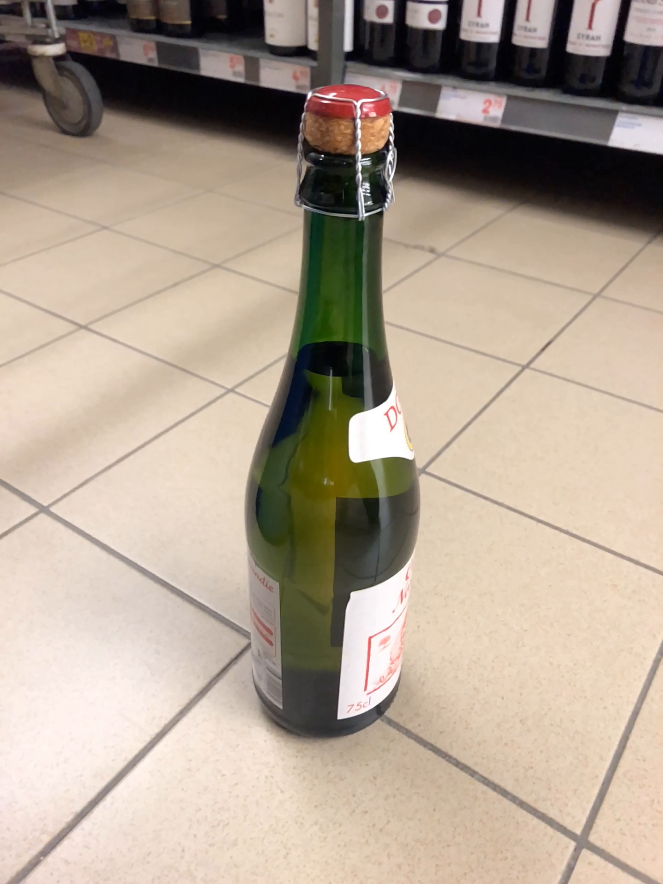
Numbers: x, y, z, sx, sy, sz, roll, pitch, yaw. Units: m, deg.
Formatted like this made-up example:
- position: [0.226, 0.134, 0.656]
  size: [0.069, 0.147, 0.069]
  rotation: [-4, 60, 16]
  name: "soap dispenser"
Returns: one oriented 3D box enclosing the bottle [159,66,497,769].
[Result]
- position: [0.002, 0.008, 0.317]
  size: [0.090, 0.288, 0.101]
  rotation: [5, 35, 5]
  name: "bottle"
